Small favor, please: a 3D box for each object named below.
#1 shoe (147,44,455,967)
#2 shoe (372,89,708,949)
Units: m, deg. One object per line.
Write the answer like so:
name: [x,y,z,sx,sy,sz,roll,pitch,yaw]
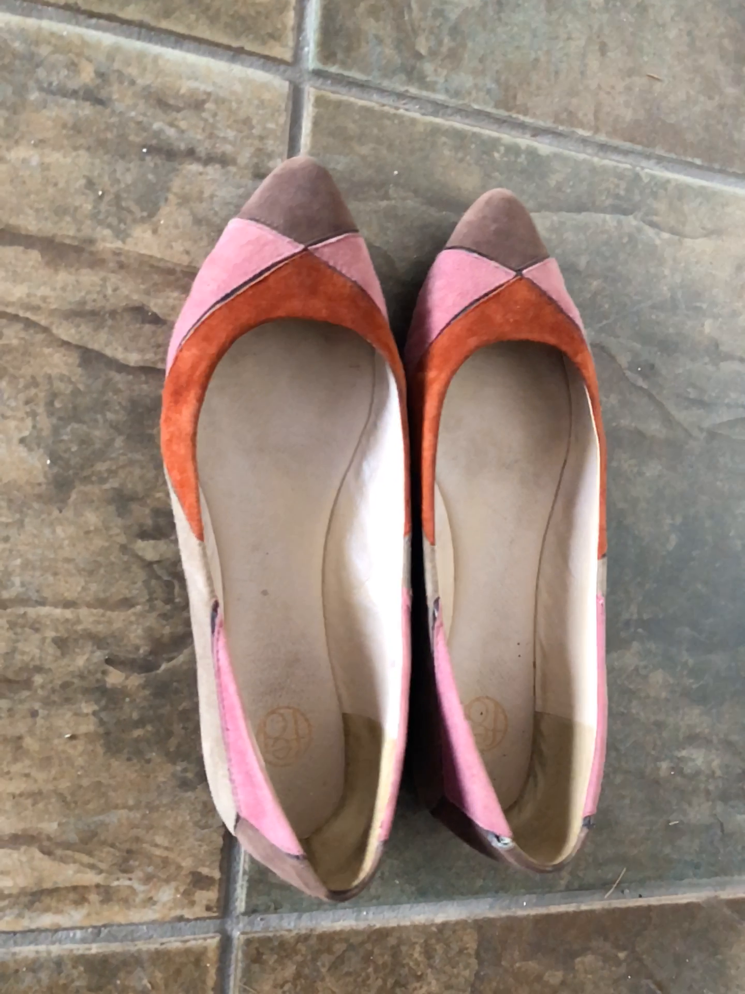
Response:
shoe: [-0.029,0.003,0.286,0.090,0.070,0.270,1,90,-18]
shoe: [0.058,0.008,0.304,0.090,0.070,0.270,2,90,-18]
